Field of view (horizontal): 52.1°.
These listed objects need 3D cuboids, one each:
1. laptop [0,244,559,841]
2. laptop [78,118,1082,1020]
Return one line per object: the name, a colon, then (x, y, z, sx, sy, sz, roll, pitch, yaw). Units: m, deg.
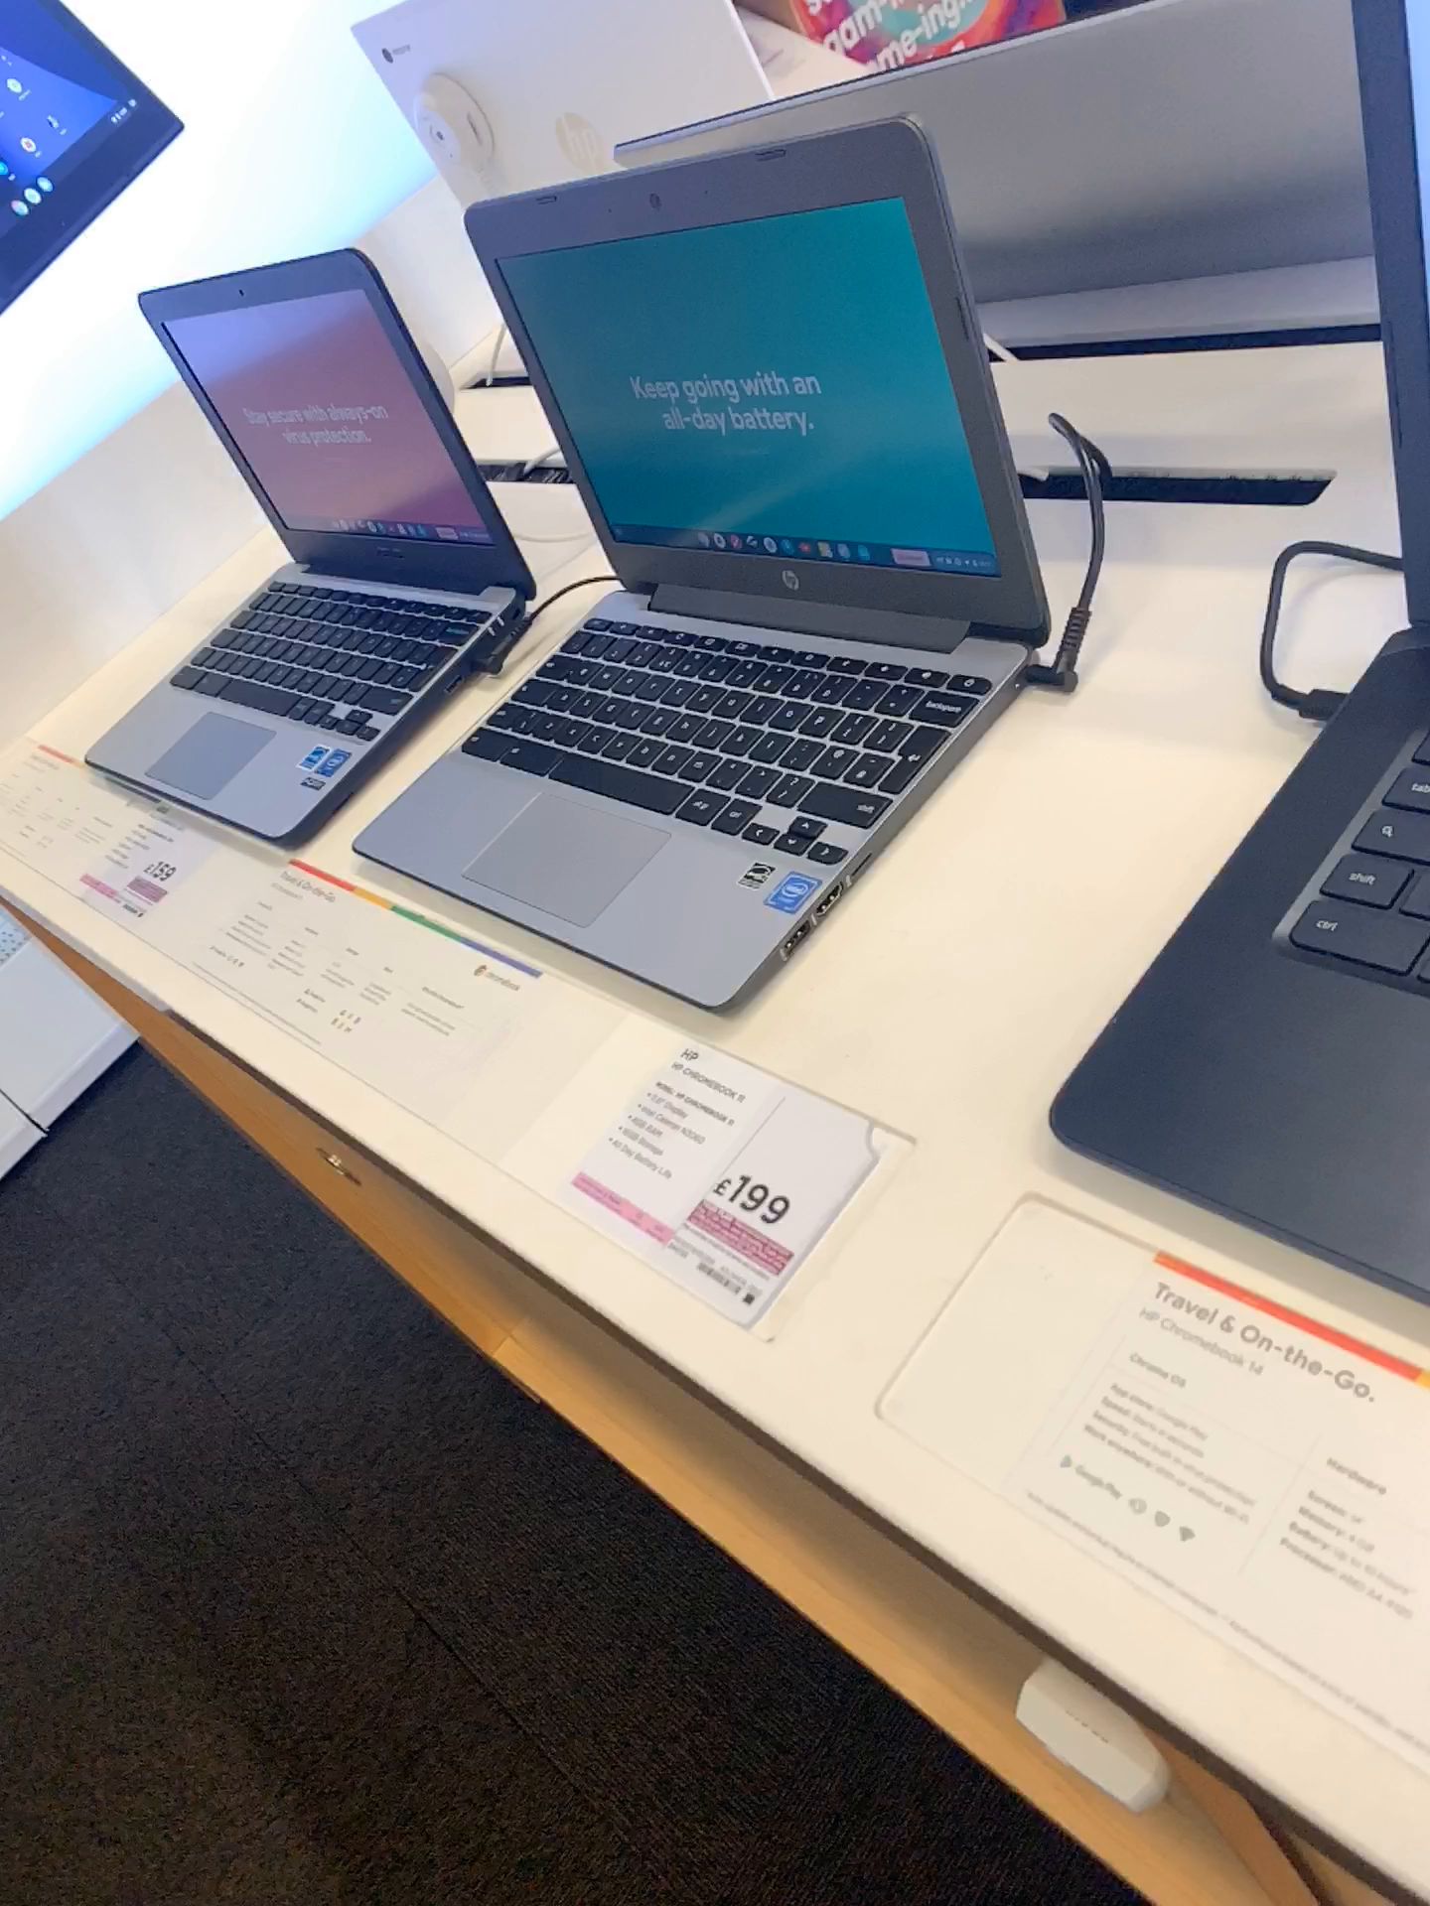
laptop: (-0.286, -0.235, 0.827, 0.288, 0.180, 0.222, 20, 64, 46)
laptop: (-0.057, -0.156, 0.583, 0.279, 0.185, 0.228, 21, 63, 47)
